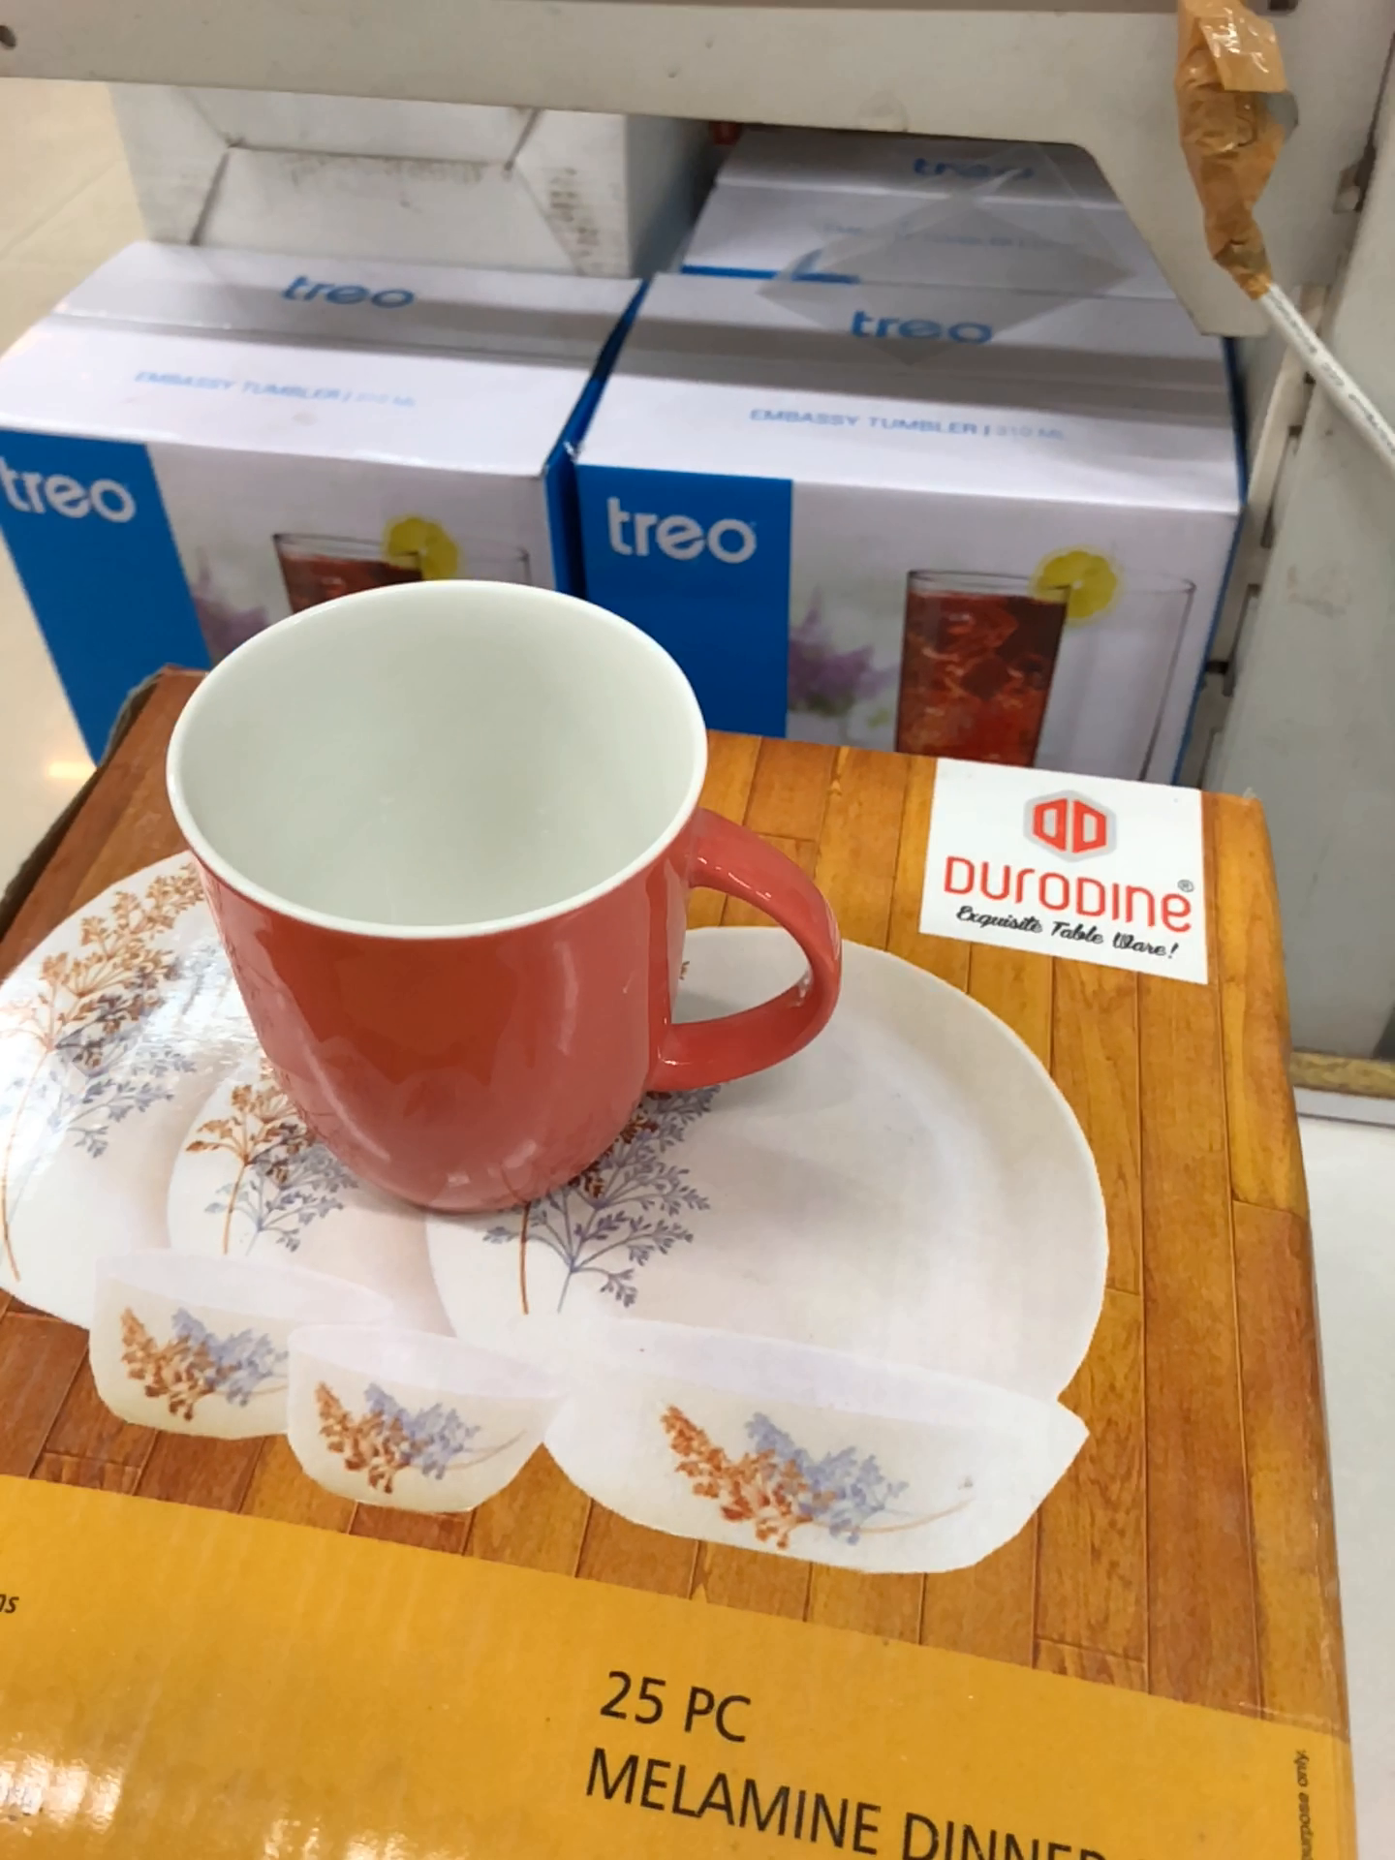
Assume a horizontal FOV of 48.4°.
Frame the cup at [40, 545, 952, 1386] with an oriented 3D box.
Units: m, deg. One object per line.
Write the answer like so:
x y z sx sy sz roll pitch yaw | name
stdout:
-0.024 0.005 0.278 0.120 0.099 0.091 9 47 10 | cup
